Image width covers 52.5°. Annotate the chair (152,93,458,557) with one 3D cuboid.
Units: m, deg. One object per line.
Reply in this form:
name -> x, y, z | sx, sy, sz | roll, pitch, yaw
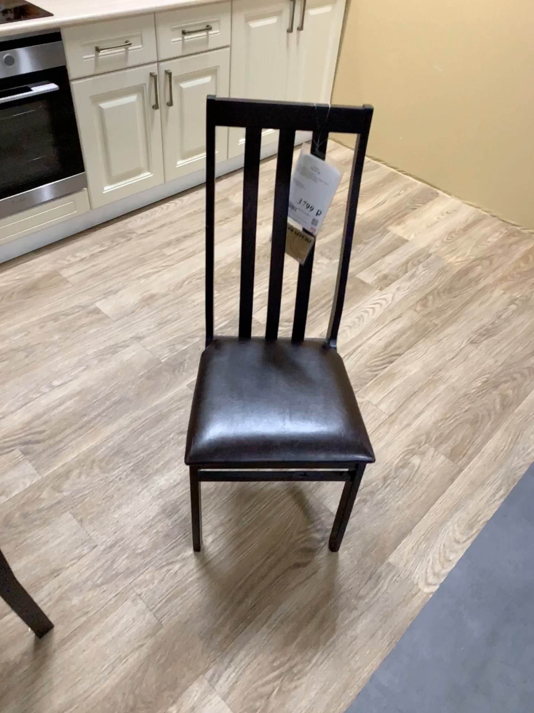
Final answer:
chair -> 0.011, 0.007, 1.259 | 0.420, 0.985, 0.493 | 1, 45, -5
